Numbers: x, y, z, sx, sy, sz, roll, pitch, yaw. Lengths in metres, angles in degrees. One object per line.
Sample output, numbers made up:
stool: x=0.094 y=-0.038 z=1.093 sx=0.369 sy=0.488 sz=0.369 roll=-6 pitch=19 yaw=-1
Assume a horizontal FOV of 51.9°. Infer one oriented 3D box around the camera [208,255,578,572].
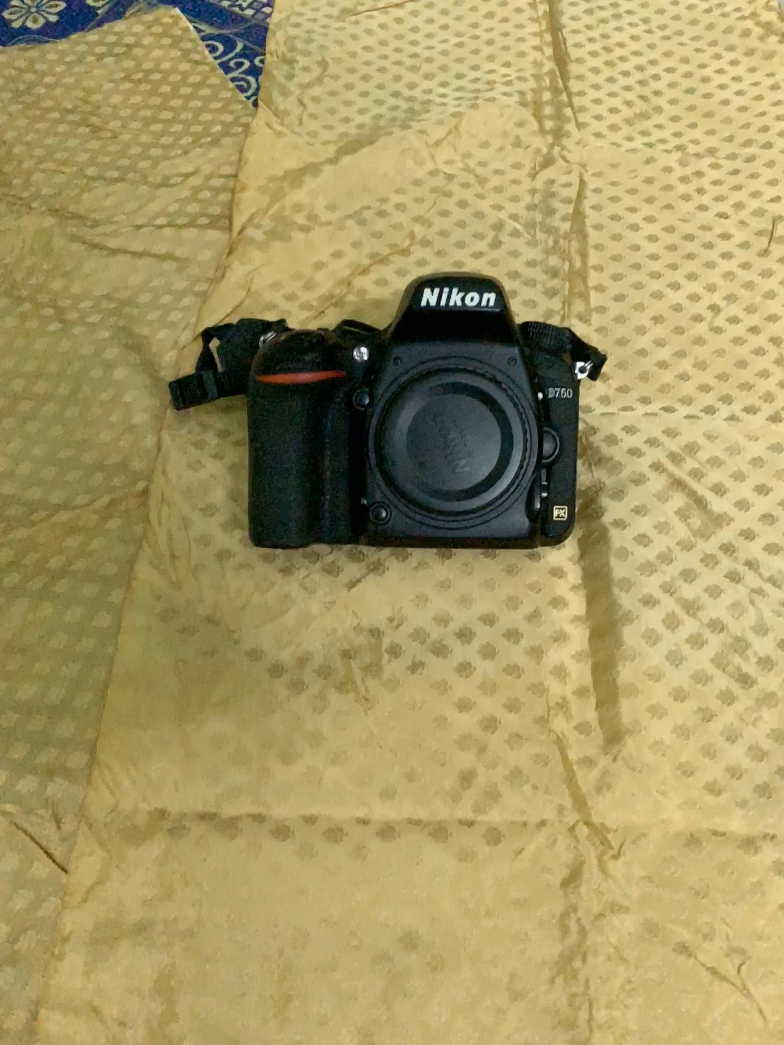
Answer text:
camera: x=0.000 y=-0.041 z=0.324 sx=0.130 sy=0.073 sz=0.110 roll=1 pitch=94 yaw=1
